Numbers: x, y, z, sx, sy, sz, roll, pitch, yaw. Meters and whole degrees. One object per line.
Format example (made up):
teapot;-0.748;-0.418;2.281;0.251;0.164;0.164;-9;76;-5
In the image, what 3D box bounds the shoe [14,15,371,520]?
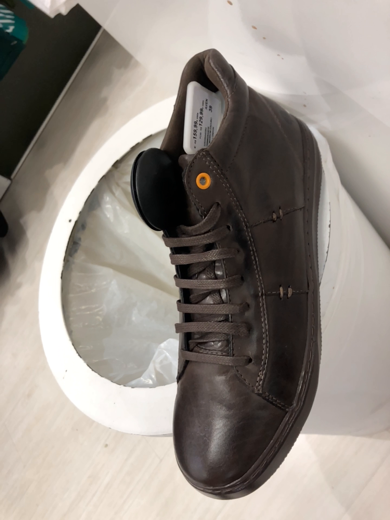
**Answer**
shoe;0.017;0.020;0.286;0.120;0.139;0.270;4;75;37
